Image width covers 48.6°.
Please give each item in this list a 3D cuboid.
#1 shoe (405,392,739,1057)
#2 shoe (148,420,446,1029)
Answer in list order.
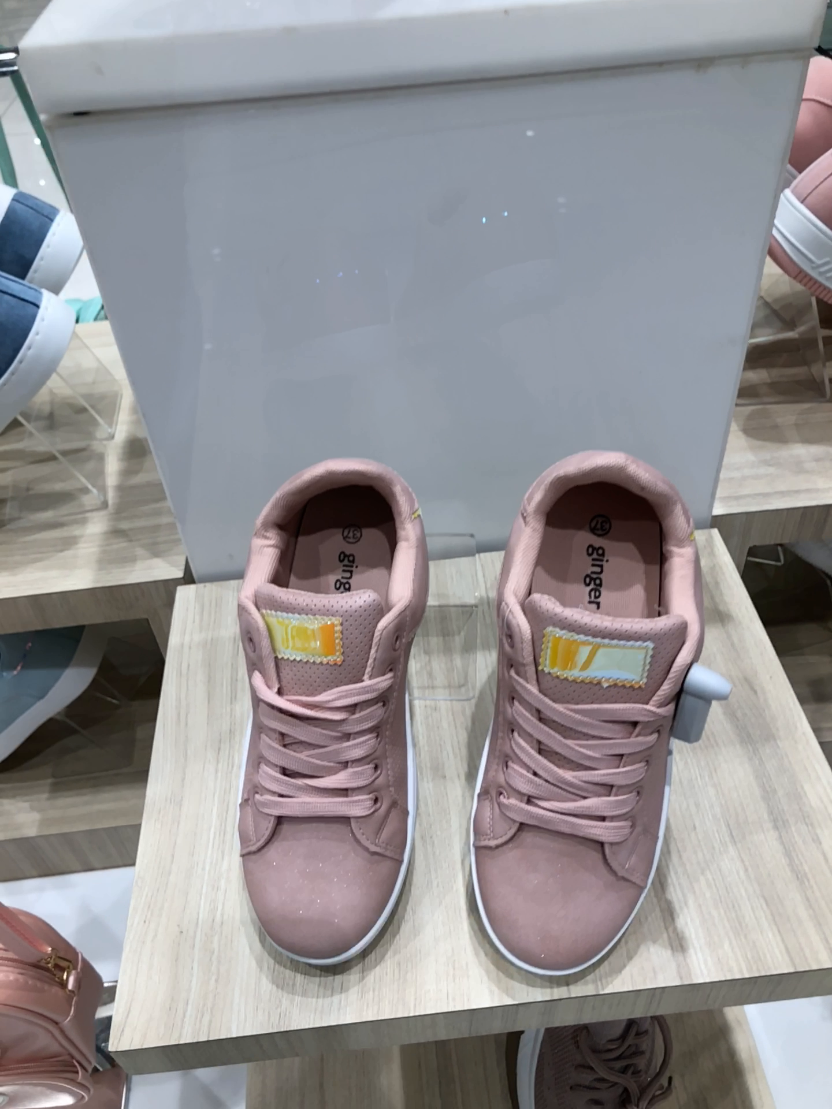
[{"bbox_3d":[0.075,0.069,0.434,0.099,0.094,0.262,9,82,11],"label":"shoe"},{"bbox_3d":[-0.049,0.071,0.443,0.103,0.094,0.252,3,83,8],"label":"shoe"}]
